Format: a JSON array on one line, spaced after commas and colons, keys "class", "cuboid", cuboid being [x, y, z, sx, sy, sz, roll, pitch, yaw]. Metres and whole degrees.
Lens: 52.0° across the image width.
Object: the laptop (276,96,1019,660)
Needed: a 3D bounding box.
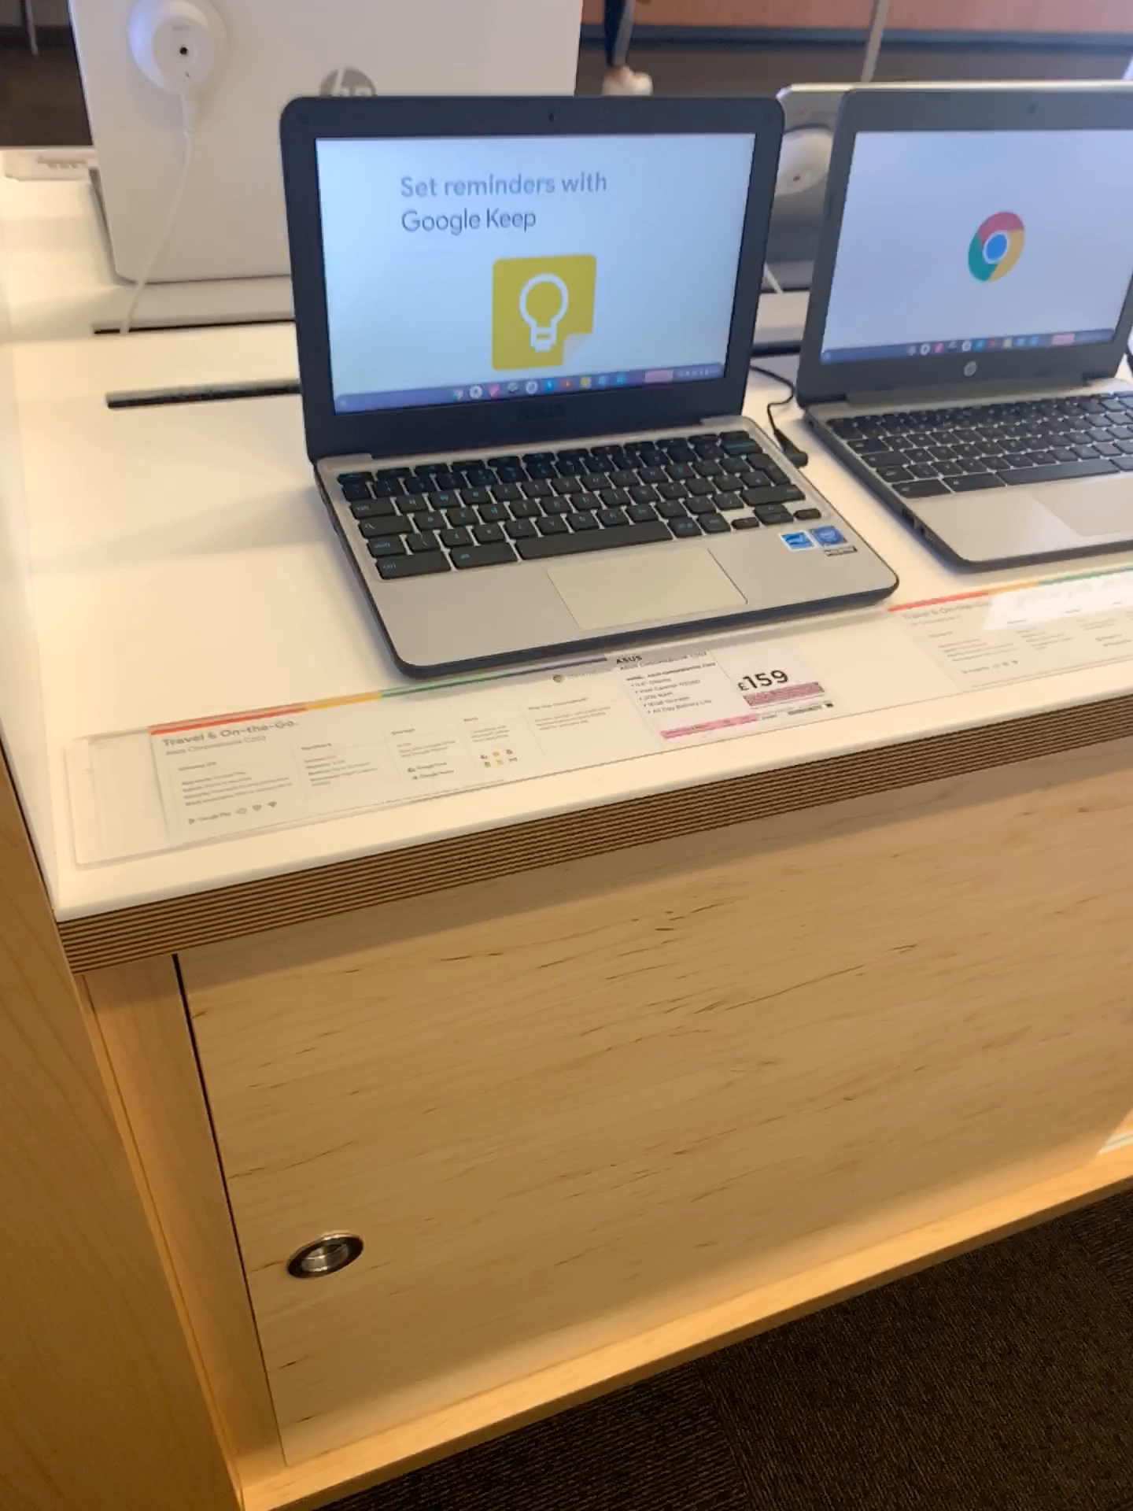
[{"class": "laptop", "cuboid": [0.022, -0.208, 0.603, 0.280, 0.183, 0.217, -11, 46, -19]}]
